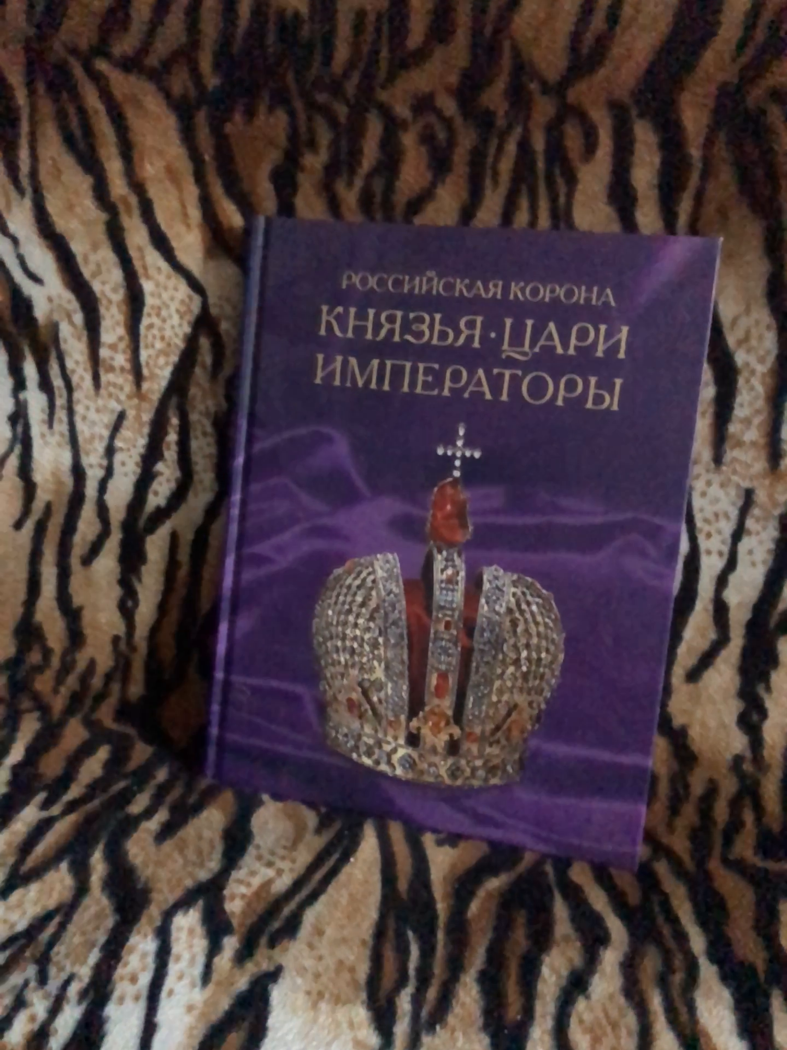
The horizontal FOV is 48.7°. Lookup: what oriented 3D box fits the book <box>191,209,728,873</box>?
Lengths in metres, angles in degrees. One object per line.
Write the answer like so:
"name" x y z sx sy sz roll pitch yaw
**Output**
"book" 0.022 0.000 0.415 0.223 0.280 0.035 7 5 15
